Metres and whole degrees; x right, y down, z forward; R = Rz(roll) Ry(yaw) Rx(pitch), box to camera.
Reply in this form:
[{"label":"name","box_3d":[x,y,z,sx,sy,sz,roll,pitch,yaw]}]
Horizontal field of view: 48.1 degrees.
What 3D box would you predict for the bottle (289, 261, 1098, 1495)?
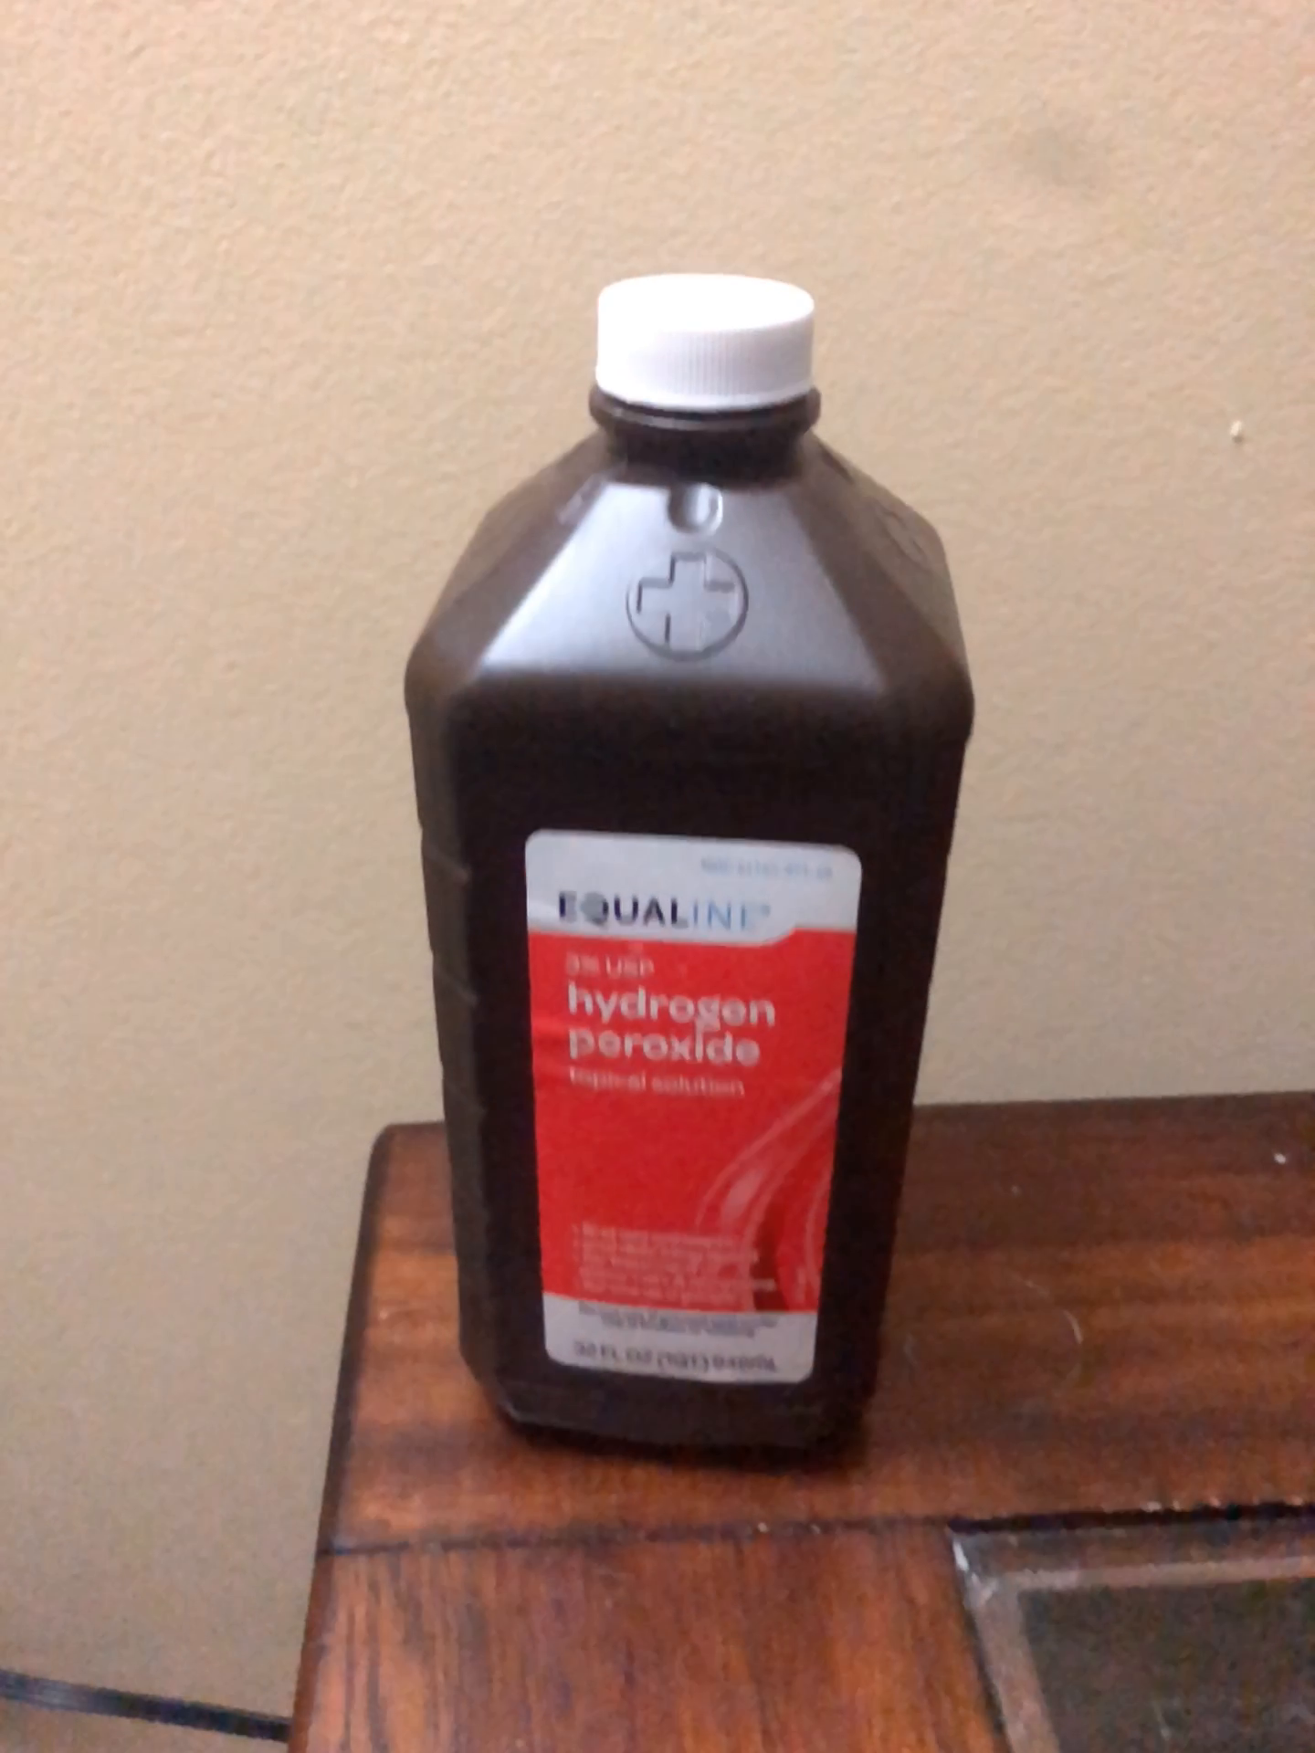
[{"label":"bottle","box_3d":[0.005,0.006,0.248,0.090,0.190,0.080,3,32,3]}]
